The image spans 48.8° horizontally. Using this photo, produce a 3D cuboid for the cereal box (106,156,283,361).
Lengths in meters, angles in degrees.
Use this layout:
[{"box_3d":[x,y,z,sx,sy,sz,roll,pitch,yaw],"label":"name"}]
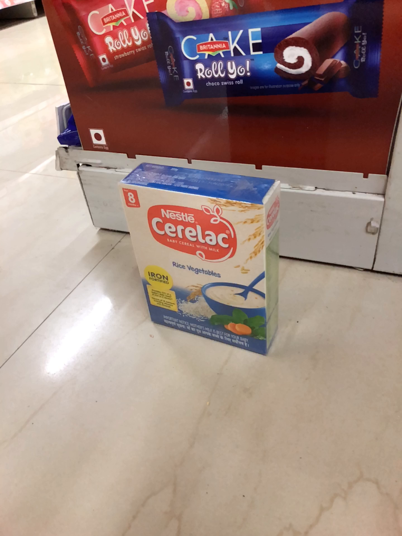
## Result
[{"box_3d":[0.001,-0.009,0.485,0.160,0.199,0.060,12,41,23],"label":"cereal box"}]
